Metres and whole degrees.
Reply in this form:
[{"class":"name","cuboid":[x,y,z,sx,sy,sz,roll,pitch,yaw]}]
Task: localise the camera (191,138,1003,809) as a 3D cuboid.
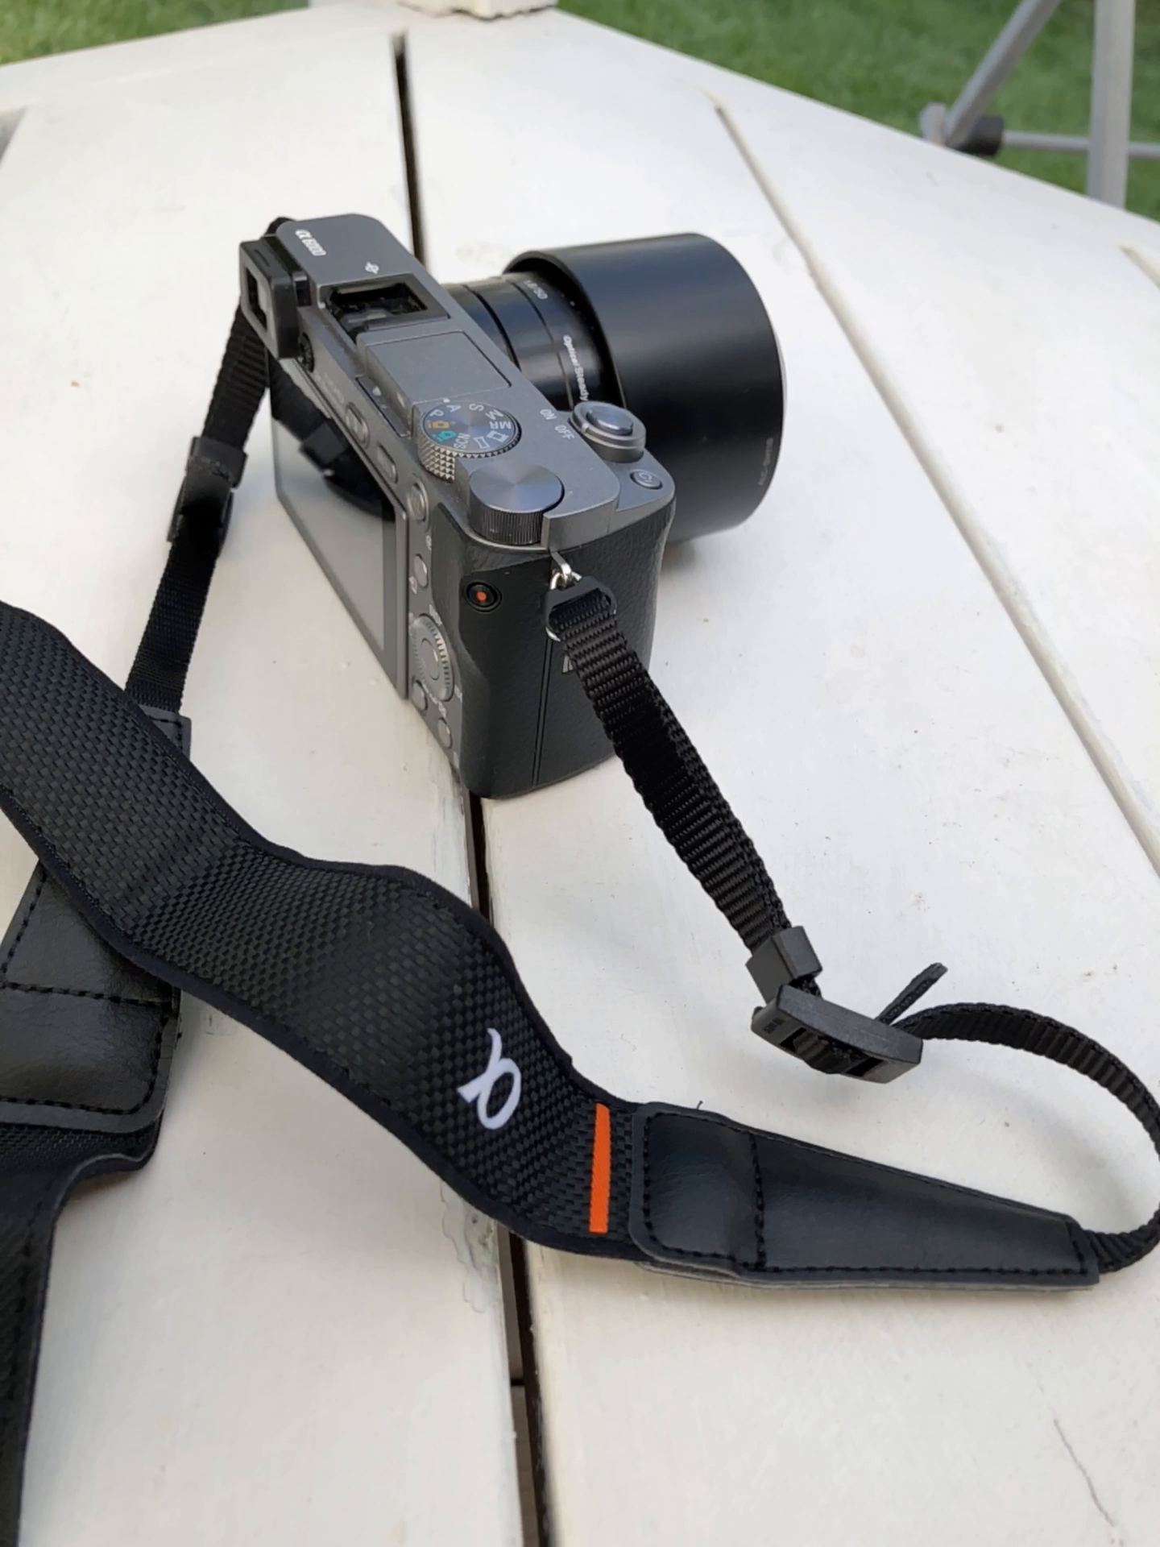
[{"class":"camera","cuboid":[-0.006,-0.077,0.284,0.110,0.070,0.140,-17,47,-25]}]
